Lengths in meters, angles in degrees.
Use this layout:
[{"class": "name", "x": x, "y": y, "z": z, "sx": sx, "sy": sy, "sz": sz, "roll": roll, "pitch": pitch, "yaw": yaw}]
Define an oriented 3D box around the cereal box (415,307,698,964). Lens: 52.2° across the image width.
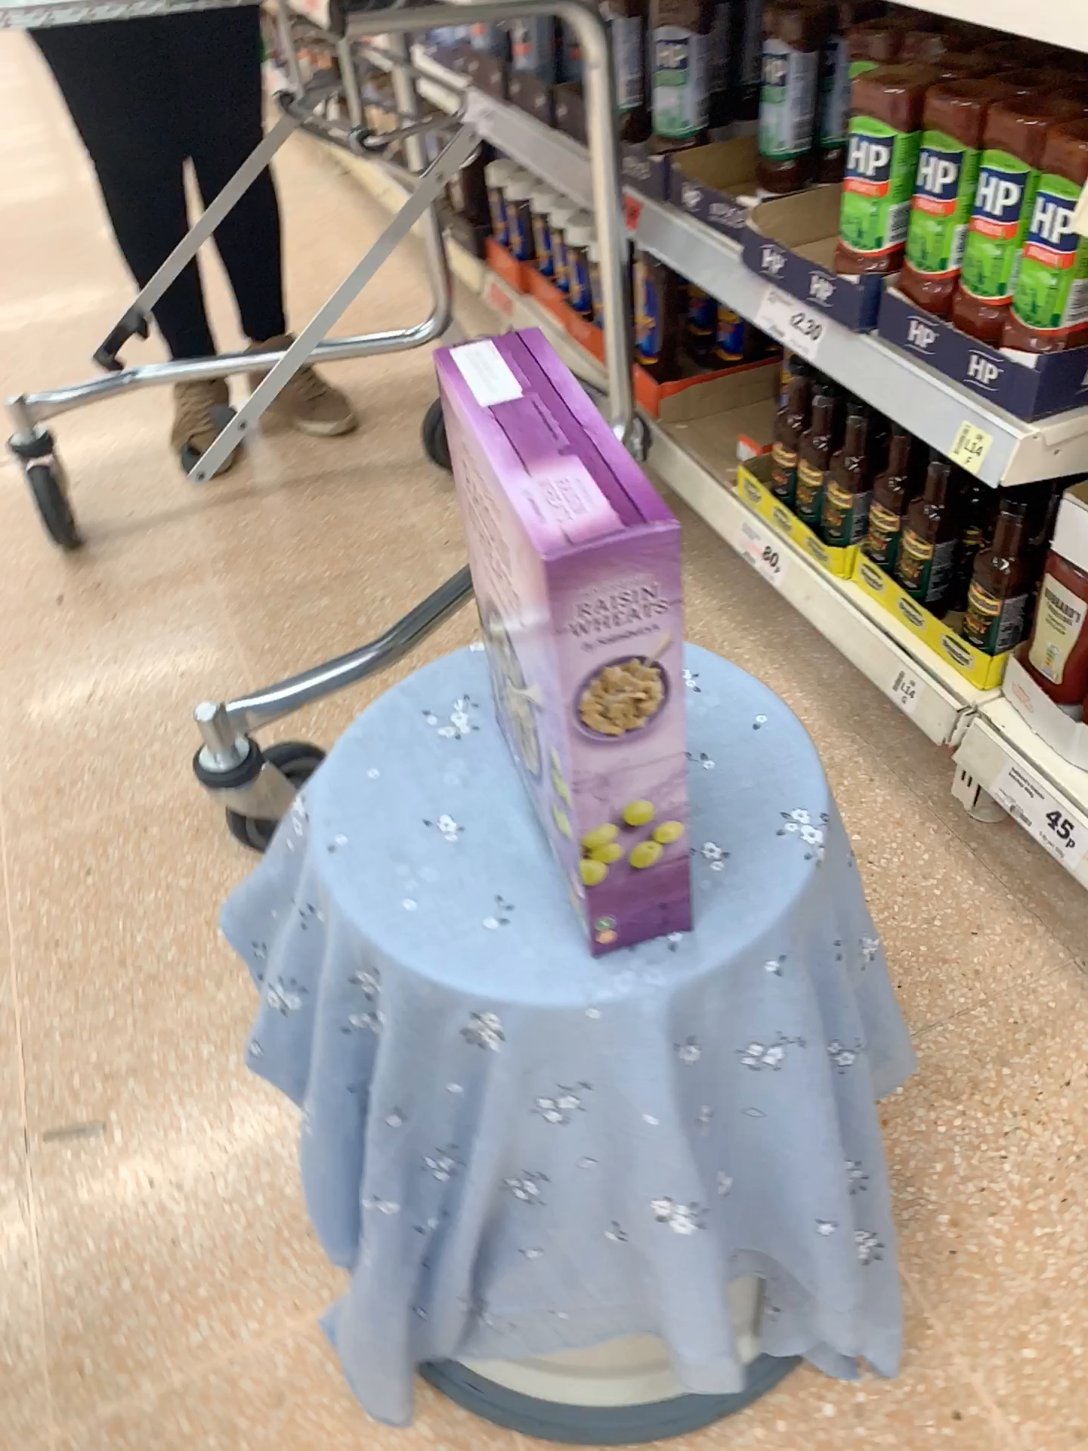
[{"class": "cereal box", "x": 0.007, "y": -0.042, "z": 0.537, "sx": 0.060, "sy": 0.238, "sz": 0.202, "roll": -15, "pitch": 43, "yaw": -9}]
